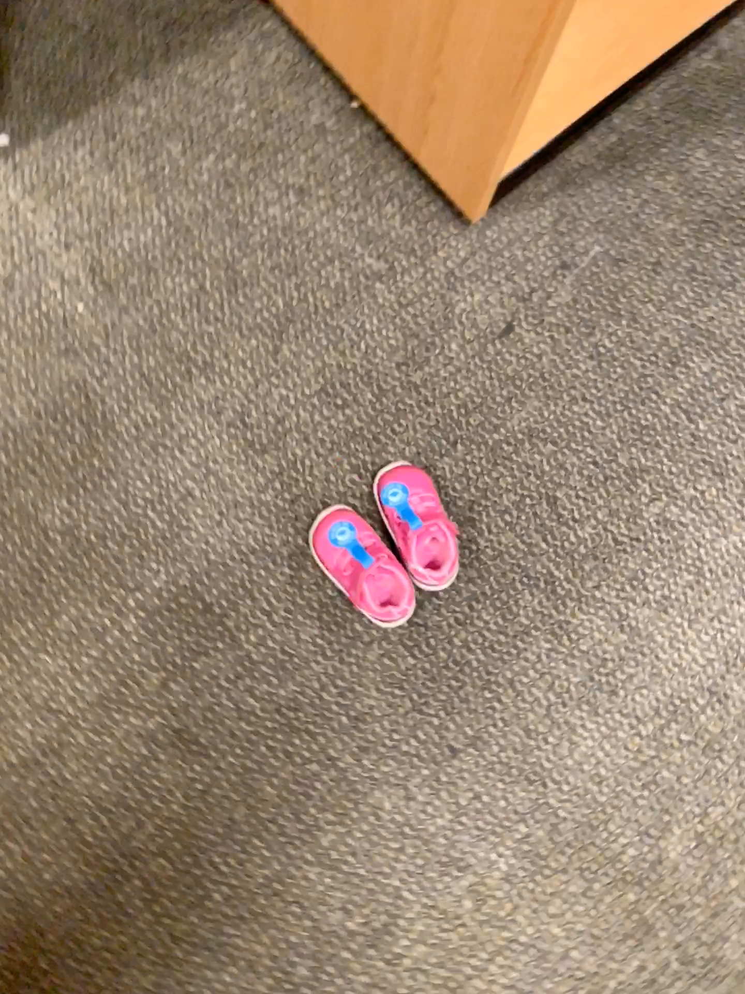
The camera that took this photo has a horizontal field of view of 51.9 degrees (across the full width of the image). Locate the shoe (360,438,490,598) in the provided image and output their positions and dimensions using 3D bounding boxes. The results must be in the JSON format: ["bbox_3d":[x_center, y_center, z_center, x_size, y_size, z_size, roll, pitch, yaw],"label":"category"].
[{"bbox_3d":[0.050,0.022,0.768,0.070,0.040,0.140,-25,84,-8],"label":"shoe"}]

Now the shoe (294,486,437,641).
[{"bbox_3d":[-0.009,0.068,0.777,0.070,0.040,0.140,-38,86,-9],"label":"shoe"}]
